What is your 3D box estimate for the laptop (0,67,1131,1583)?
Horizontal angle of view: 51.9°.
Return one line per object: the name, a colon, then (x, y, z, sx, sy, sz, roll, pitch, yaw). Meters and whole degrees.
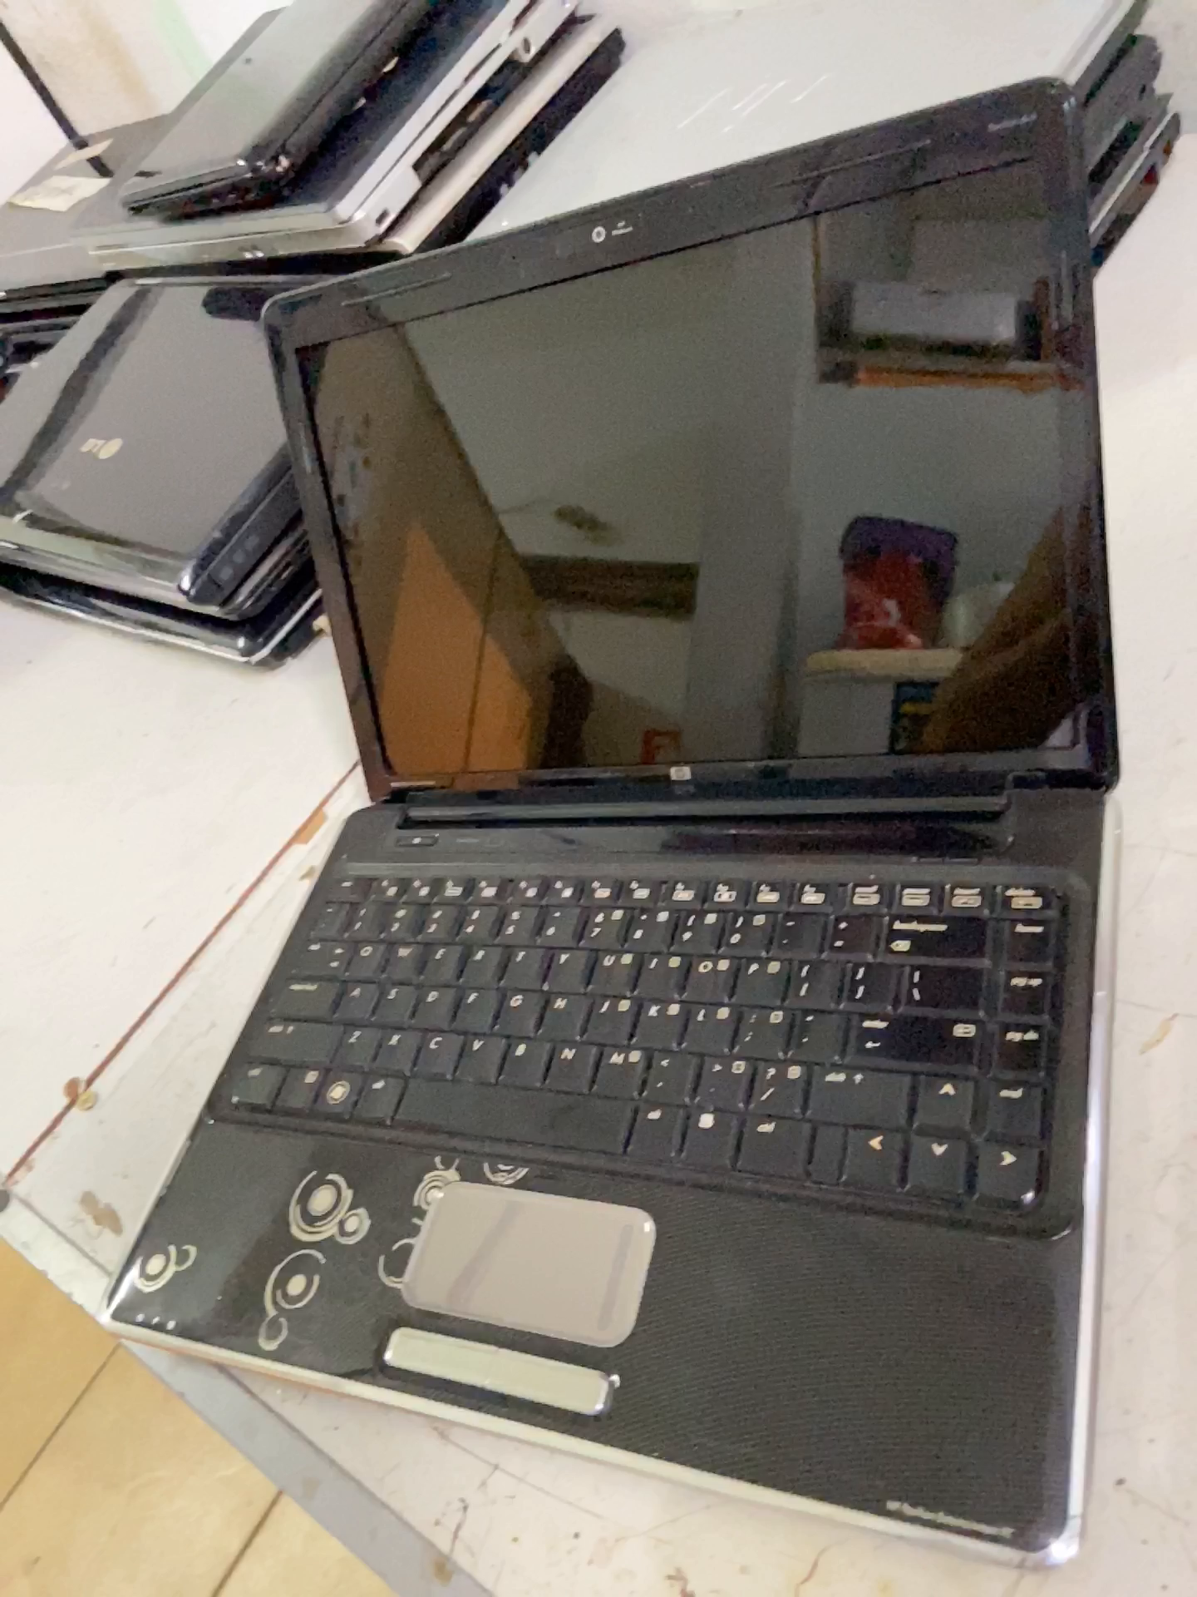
laptop: (-0.018, -0.016, 0.408, 0.331, 0.176, 0.373, -2, 50, 29)
